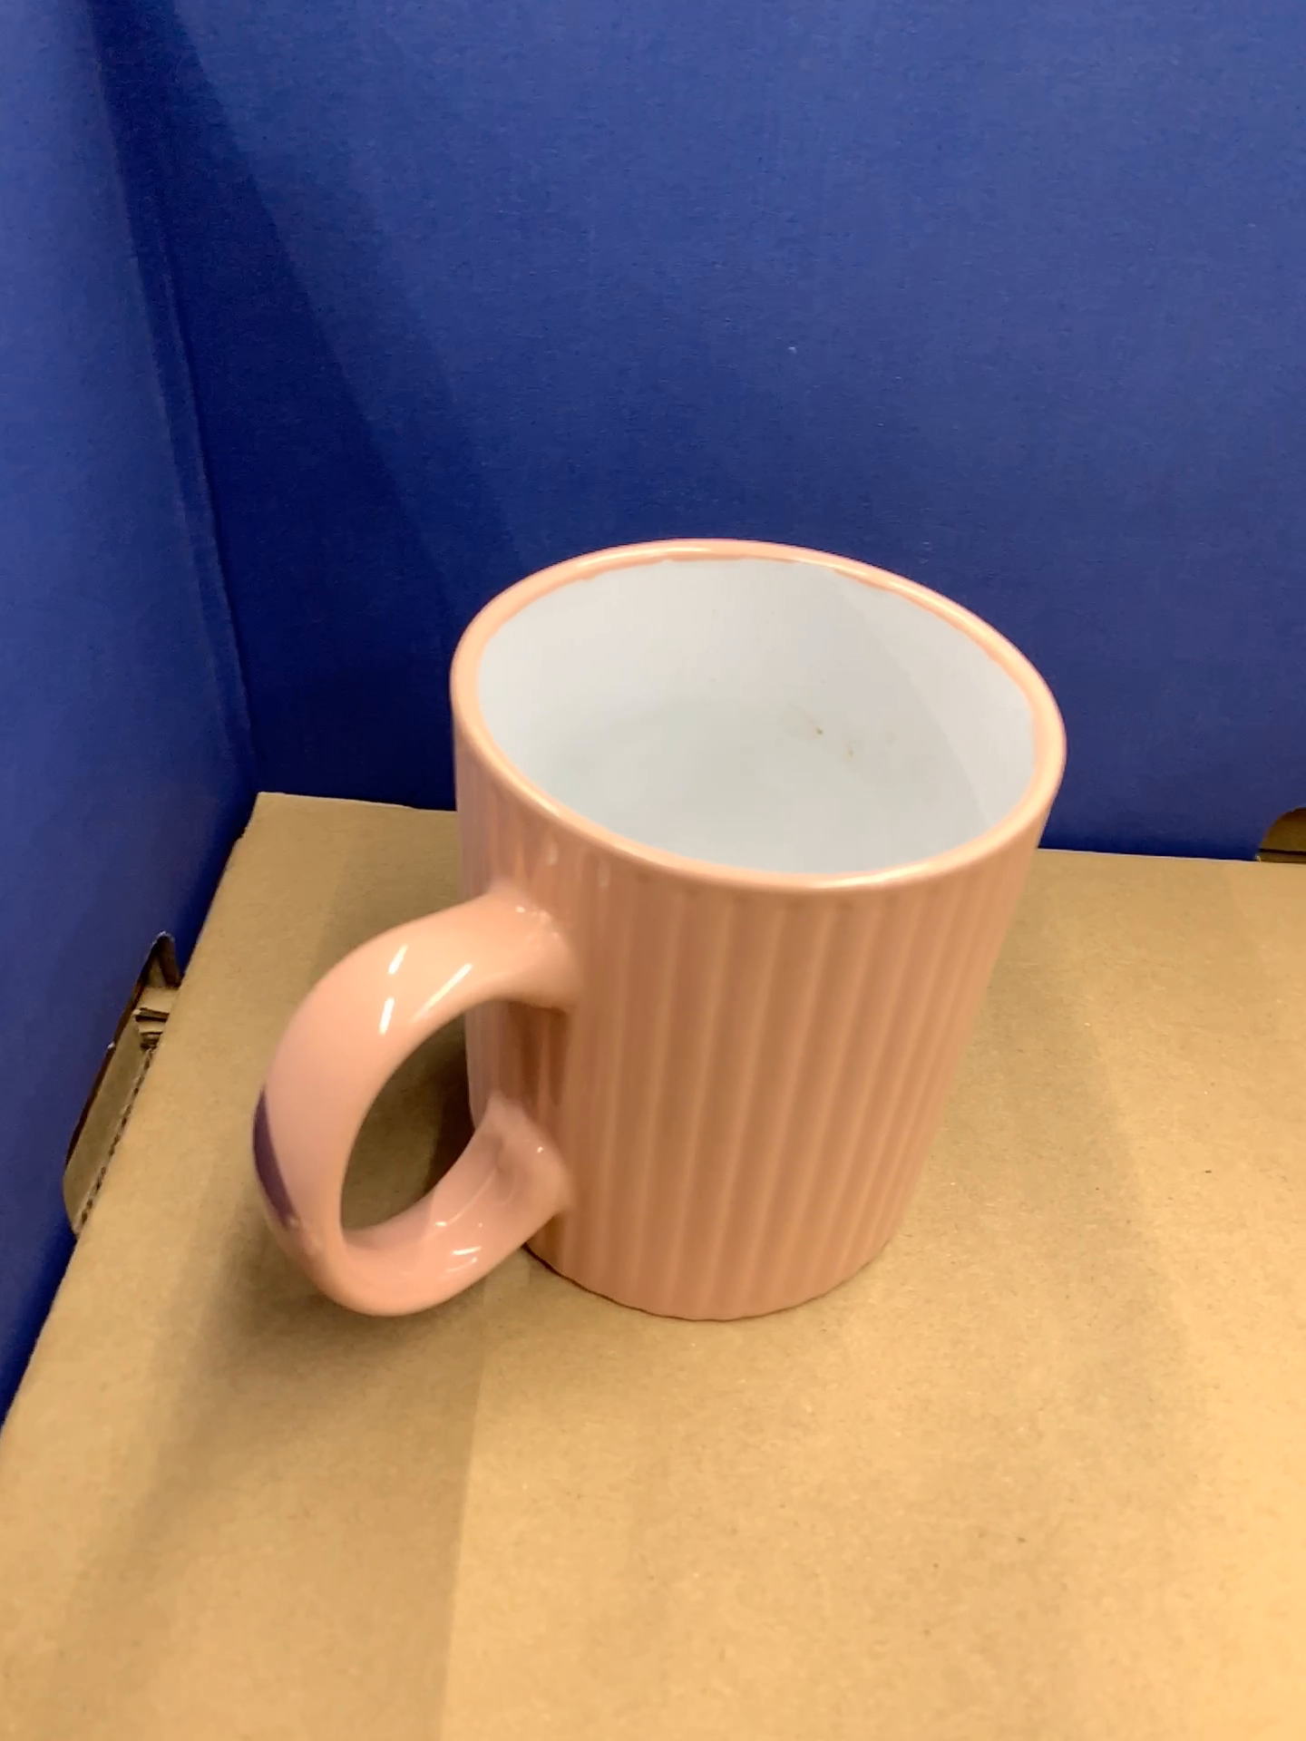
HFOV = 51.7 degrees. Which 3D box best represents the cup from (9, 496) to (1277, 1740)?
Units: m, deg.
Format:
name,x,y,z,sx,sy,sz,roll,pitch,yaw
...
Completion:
name,x,y,z,sx,sy,sz,roll,pitch,yaw
cup,0.004,0.029,0.228,0.102,0.128,0.155,30,42,34
